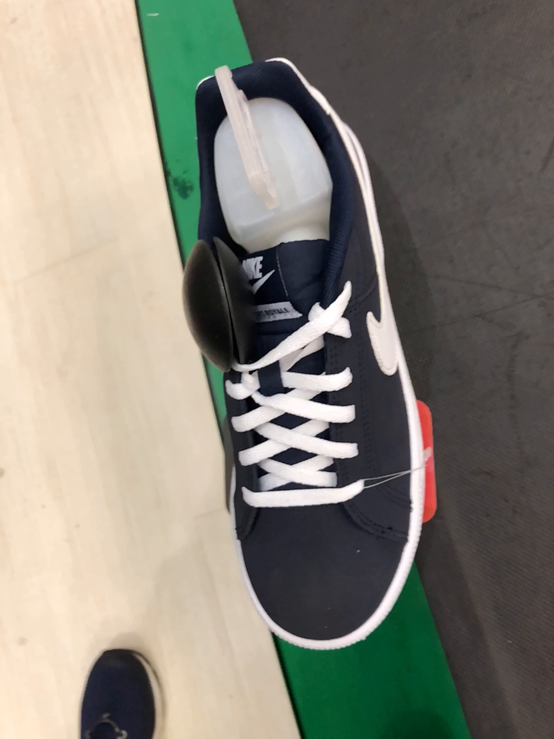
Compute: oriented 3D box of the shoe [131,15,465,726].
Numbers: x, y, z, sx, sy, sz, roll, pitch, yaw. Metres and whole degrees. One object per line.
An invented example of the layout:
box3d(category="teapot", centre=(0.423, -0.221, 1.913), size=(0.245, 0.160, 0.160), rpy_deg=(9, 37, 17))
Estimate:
box3d(category="shoe", centre=(0.013, 0.002, 0.275), size=(0.110, 0.090, 0.250), rpy_deg=(-6, 83, 16))
